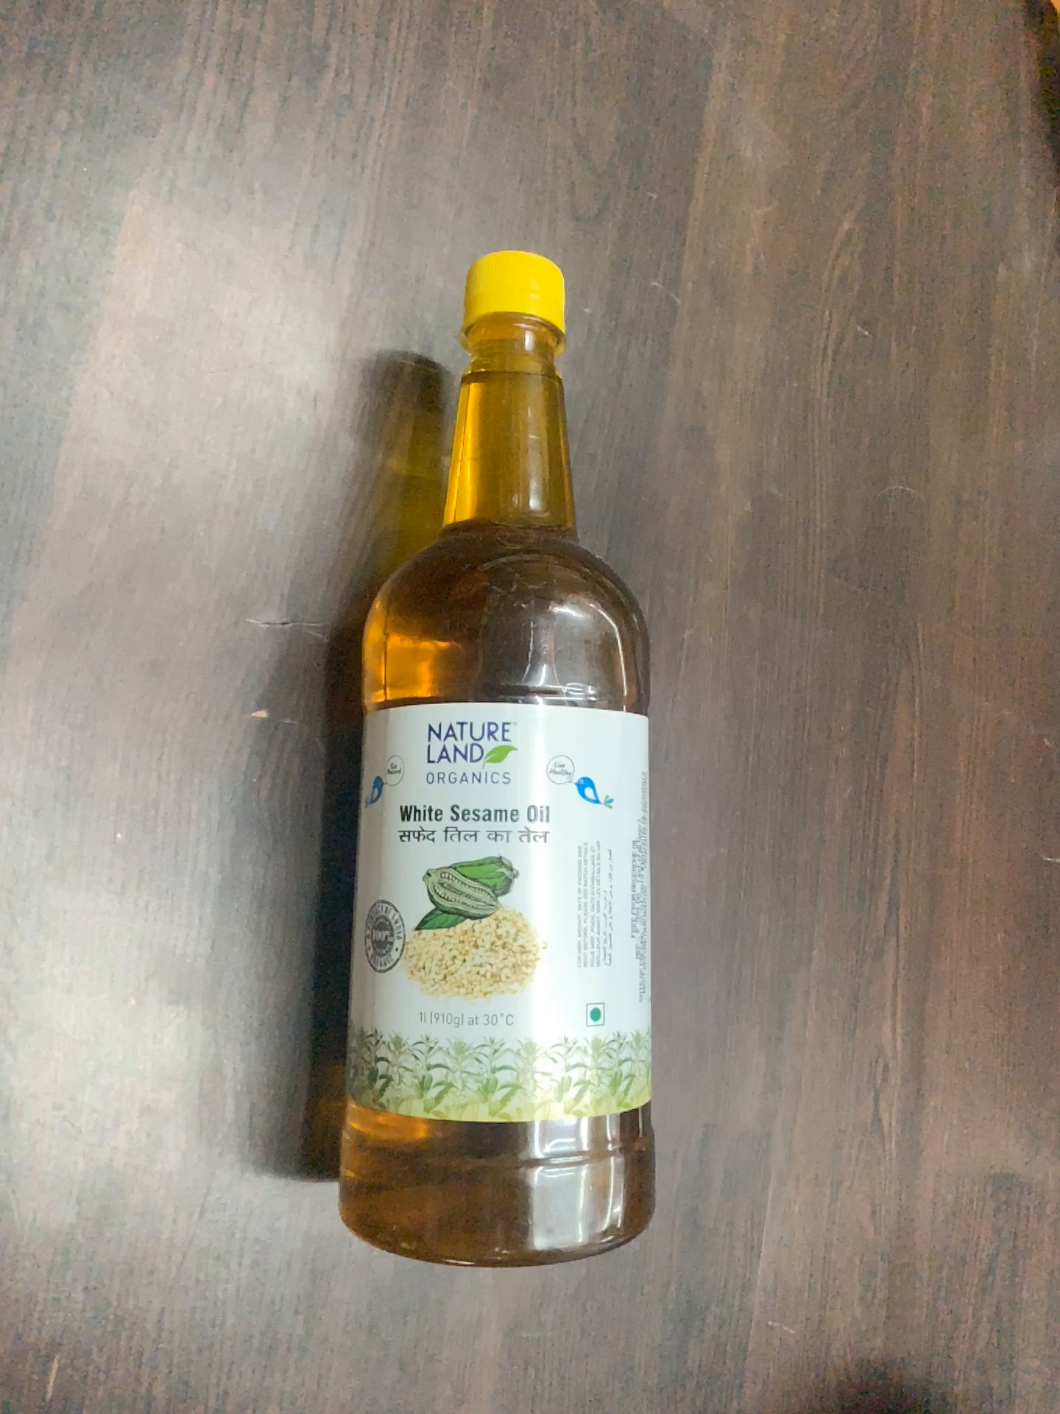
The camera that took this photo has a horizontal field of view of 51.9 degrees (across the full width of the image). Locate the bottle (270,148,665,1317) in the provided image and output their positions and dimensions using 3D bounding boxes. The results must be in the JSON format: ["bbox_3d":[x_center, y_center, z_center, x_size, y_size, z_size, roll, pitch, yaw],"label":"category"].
[{"bbox_3d":[-0.008,0.002,0.300,0.080,0.090,0.270,-1,80,11],"label":"bottle"}]
